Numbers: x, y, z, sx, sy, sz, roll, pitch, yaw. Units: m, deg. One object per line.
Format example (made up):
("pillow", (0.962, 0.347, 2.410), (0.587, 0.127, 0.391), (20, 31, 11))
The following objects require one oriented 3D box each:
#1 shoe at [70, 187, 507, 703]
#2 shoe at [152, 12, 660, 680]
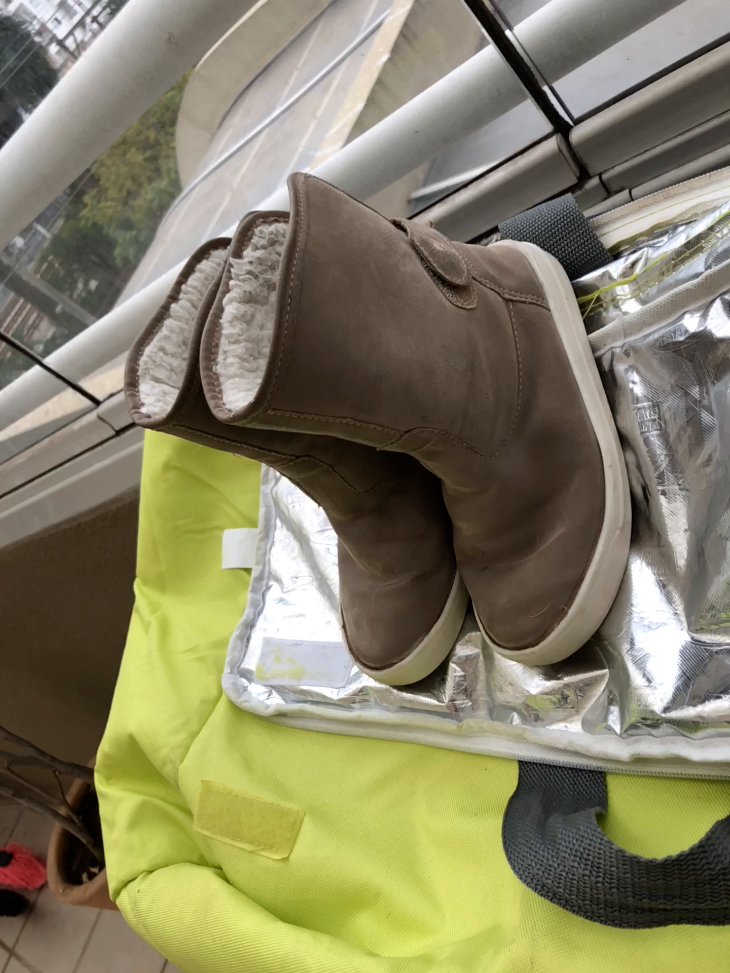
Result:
("shoe", (-0.031, -0.004, 0.373), (0.090, 0.169, 0.190), (-17, 71, 47))
("shoe", (0.016, -0.033, 0.316), (0.090, 0.169, 0.201), (-19, 69, 45))
